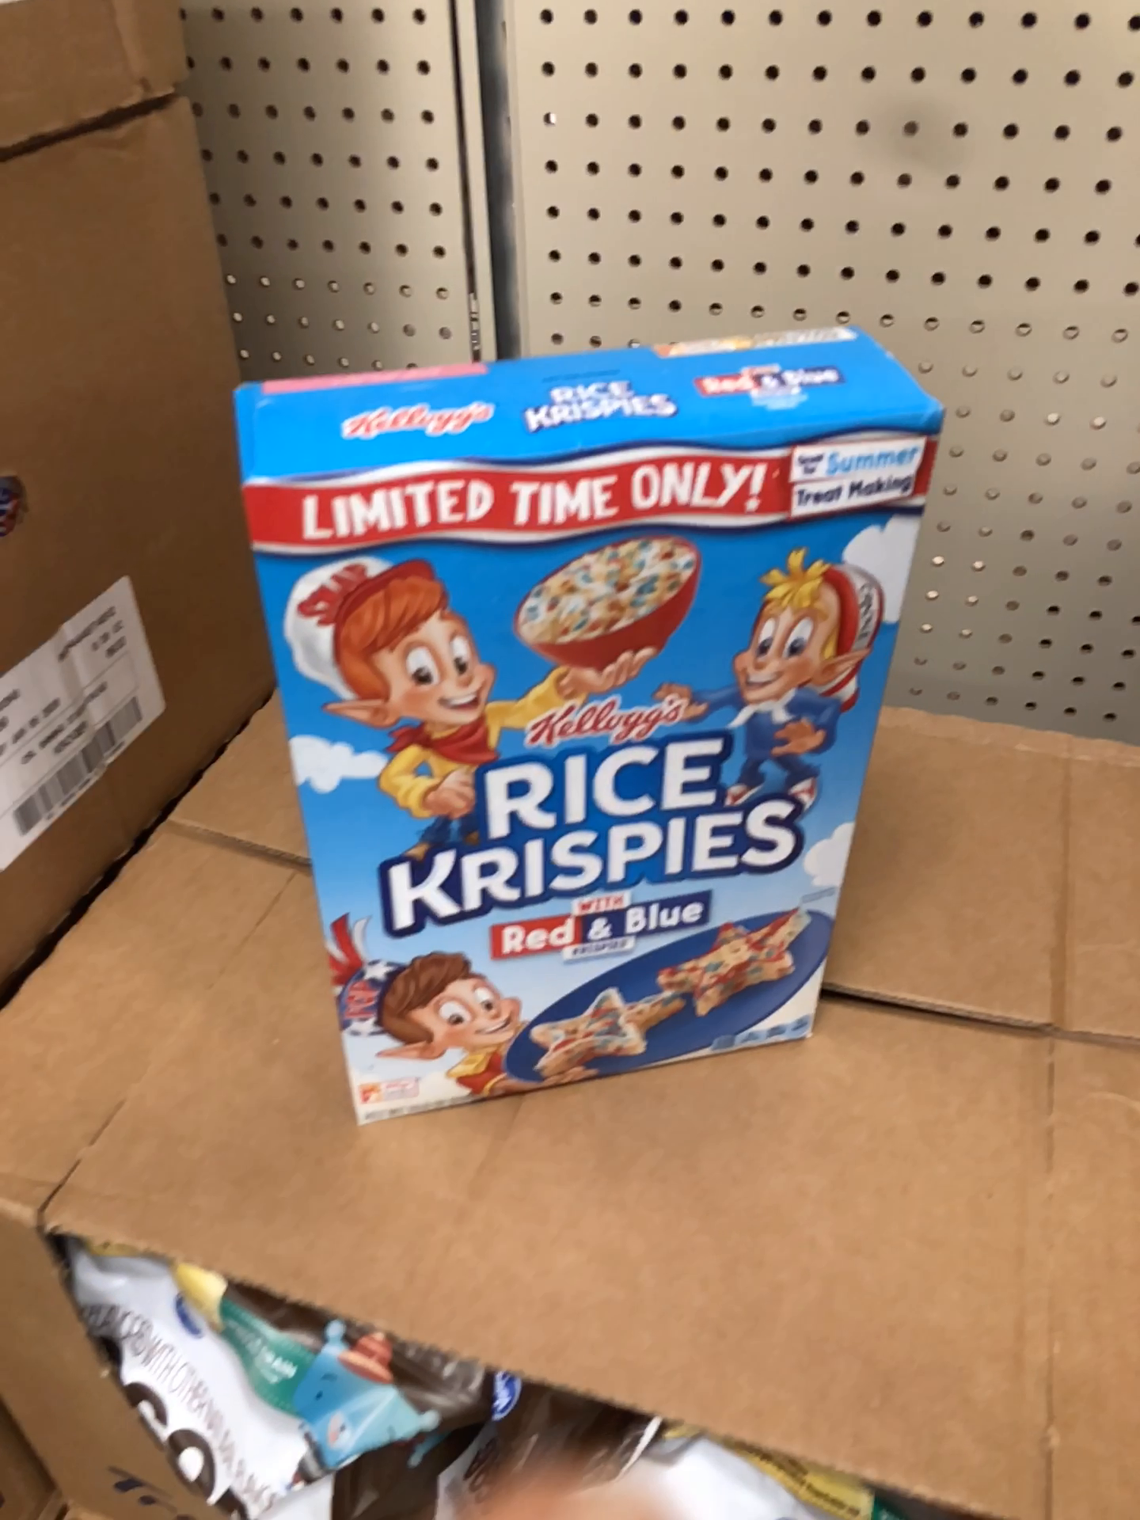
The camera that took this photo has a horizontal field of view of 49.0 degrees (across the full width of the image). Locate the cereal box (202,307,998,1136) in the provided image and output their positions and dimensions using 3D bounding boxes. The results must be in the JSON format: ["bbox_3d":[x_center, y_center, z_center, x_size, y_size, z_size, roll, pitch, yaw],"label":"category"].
[{"bbox_3d":[0.006,0.005,0.421,0.200,0.279,0.060,-9,43,-9],"label":"cereal box"}]
